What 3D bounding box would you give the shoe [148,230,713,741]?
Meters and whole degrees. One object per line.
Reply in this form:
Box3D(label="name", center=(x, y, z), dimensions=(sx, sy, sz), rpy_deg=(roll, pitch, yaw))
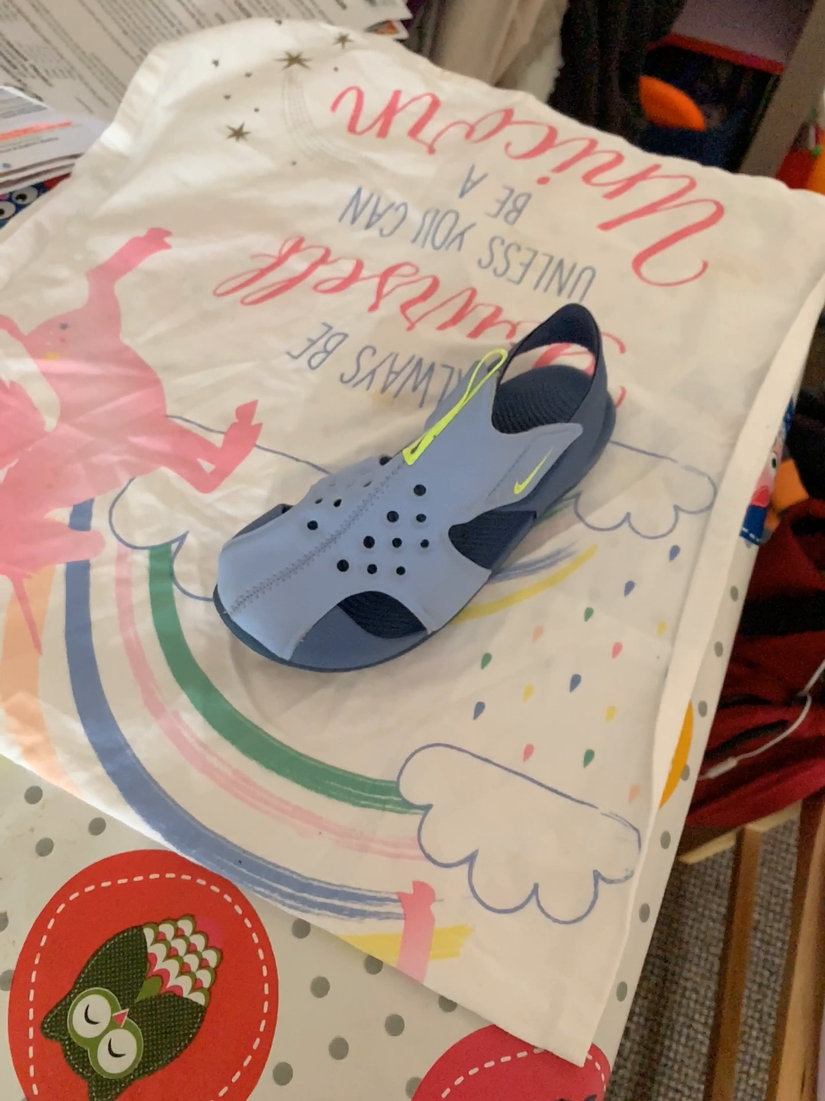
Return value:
Box3D(label="shoe", center=(0.012, -0.031, 0.370), dimensions=(0.216, 0.090, 0.087), rpy_deg=(-37, 70, -19))
